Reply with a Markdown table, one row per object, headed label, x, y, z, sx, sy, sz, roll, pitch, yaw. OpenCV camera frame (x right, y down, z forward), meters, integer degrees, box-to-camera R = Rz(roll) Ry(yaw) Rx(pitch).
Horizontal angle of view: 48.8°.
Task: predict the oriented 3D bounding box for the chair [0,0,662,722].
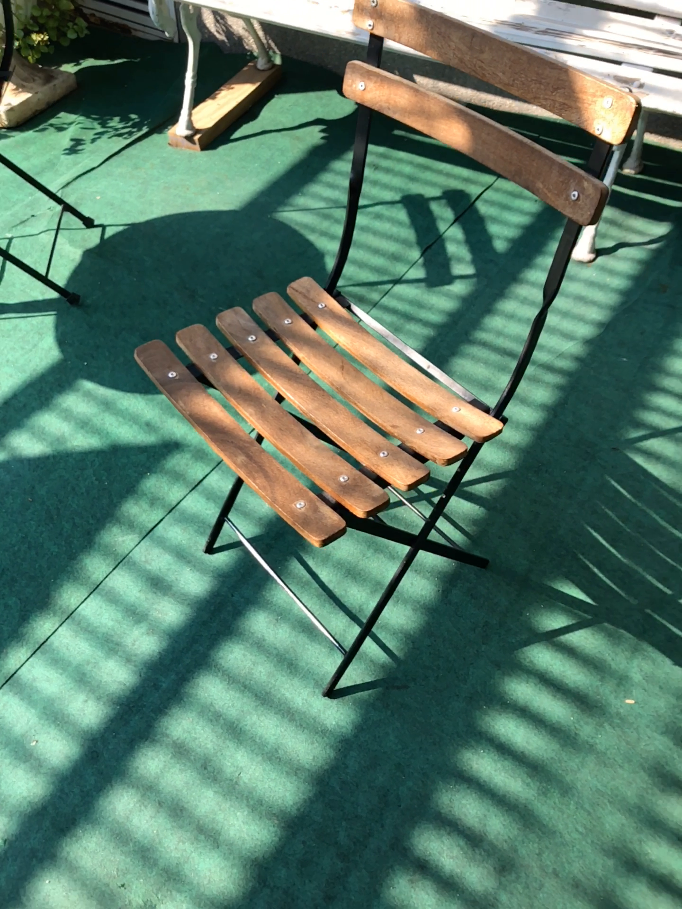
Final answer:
| label | x | y | z | sx | sy | sz | roll | pitch | yaw |
| --- | --- | --- | --- | --- | --- | --- | --- | --- | --- |
| chair | -0.020 | -0.094 | 0.863 | 0.401 | 0.656 | 0.391 | -32 | 56 | -24 |
